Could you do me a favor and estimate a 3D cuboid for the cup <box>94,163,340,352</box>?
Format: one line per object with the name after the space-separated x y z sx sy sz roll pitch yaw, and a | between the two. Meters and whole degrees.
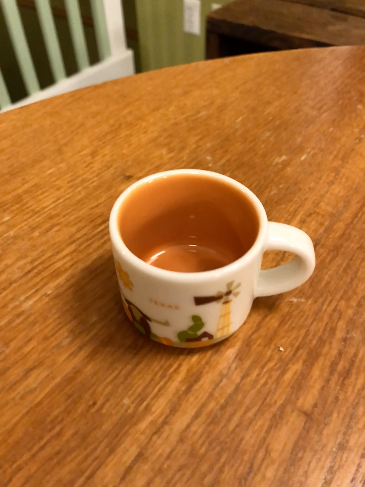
0.013 0.005 0.172 0.080 0.049 0.060 2 46 3 | cup
